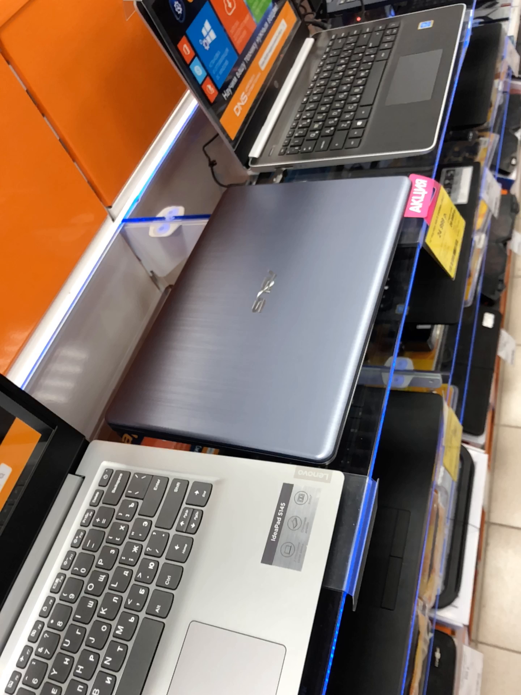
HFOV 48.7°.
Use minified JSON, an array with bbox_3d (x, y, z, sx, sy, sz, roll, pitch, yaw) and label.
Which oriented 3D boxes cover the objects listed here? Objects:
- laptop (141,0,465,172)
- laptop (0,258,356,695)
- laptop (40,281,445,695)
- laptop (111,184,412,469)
[{"bbox_3d":[0.083,-0.413,0.696,0.271,0.205,0.337,3,53,25],"label":"laptop"},{"bbox_3d":[-0.148,0.167,0.301,0.289,0.224,0.354,2,54,24],"label":"laptop"},{"bbox_3d":[0.019,0.144,0.667,0.313,0.226,0.378,4,55,26],"label":"laptop"},{"bbox_3d":[0.011,-0.048,0.560,0.214,0.001,0.325,5,55,26],"label":"laptop"}]
